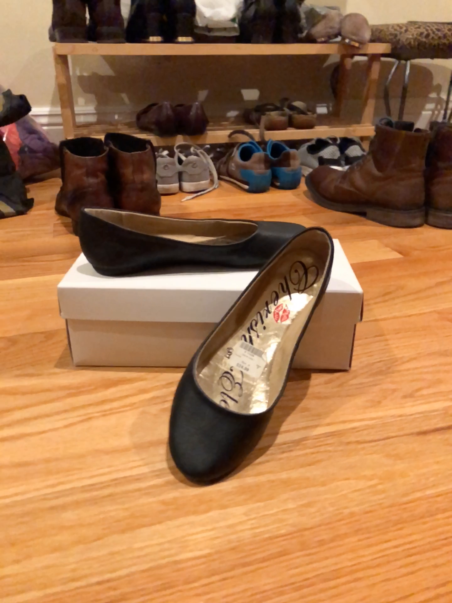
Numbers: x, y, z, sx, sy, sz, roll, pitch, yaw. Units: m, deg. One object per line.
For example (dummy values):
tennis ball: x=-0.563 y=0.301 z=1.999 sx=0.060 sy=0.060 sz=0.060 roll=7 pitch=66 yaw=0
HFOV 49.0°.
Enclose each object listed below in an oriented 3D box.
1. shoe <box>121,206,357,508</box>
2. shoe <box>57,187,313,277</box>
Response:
shoe: x=0.019 y=0.040 z=0.418 sx=0.076 sy=0.060 sz=0.240 roll=27 pitch=72 yaw=17
shoe: x=-0.040 y=-0.075 z=0.511 sx=0.239 sy=0.060 sz=0.076 roll=-4 pitch=27 yaw=-7
